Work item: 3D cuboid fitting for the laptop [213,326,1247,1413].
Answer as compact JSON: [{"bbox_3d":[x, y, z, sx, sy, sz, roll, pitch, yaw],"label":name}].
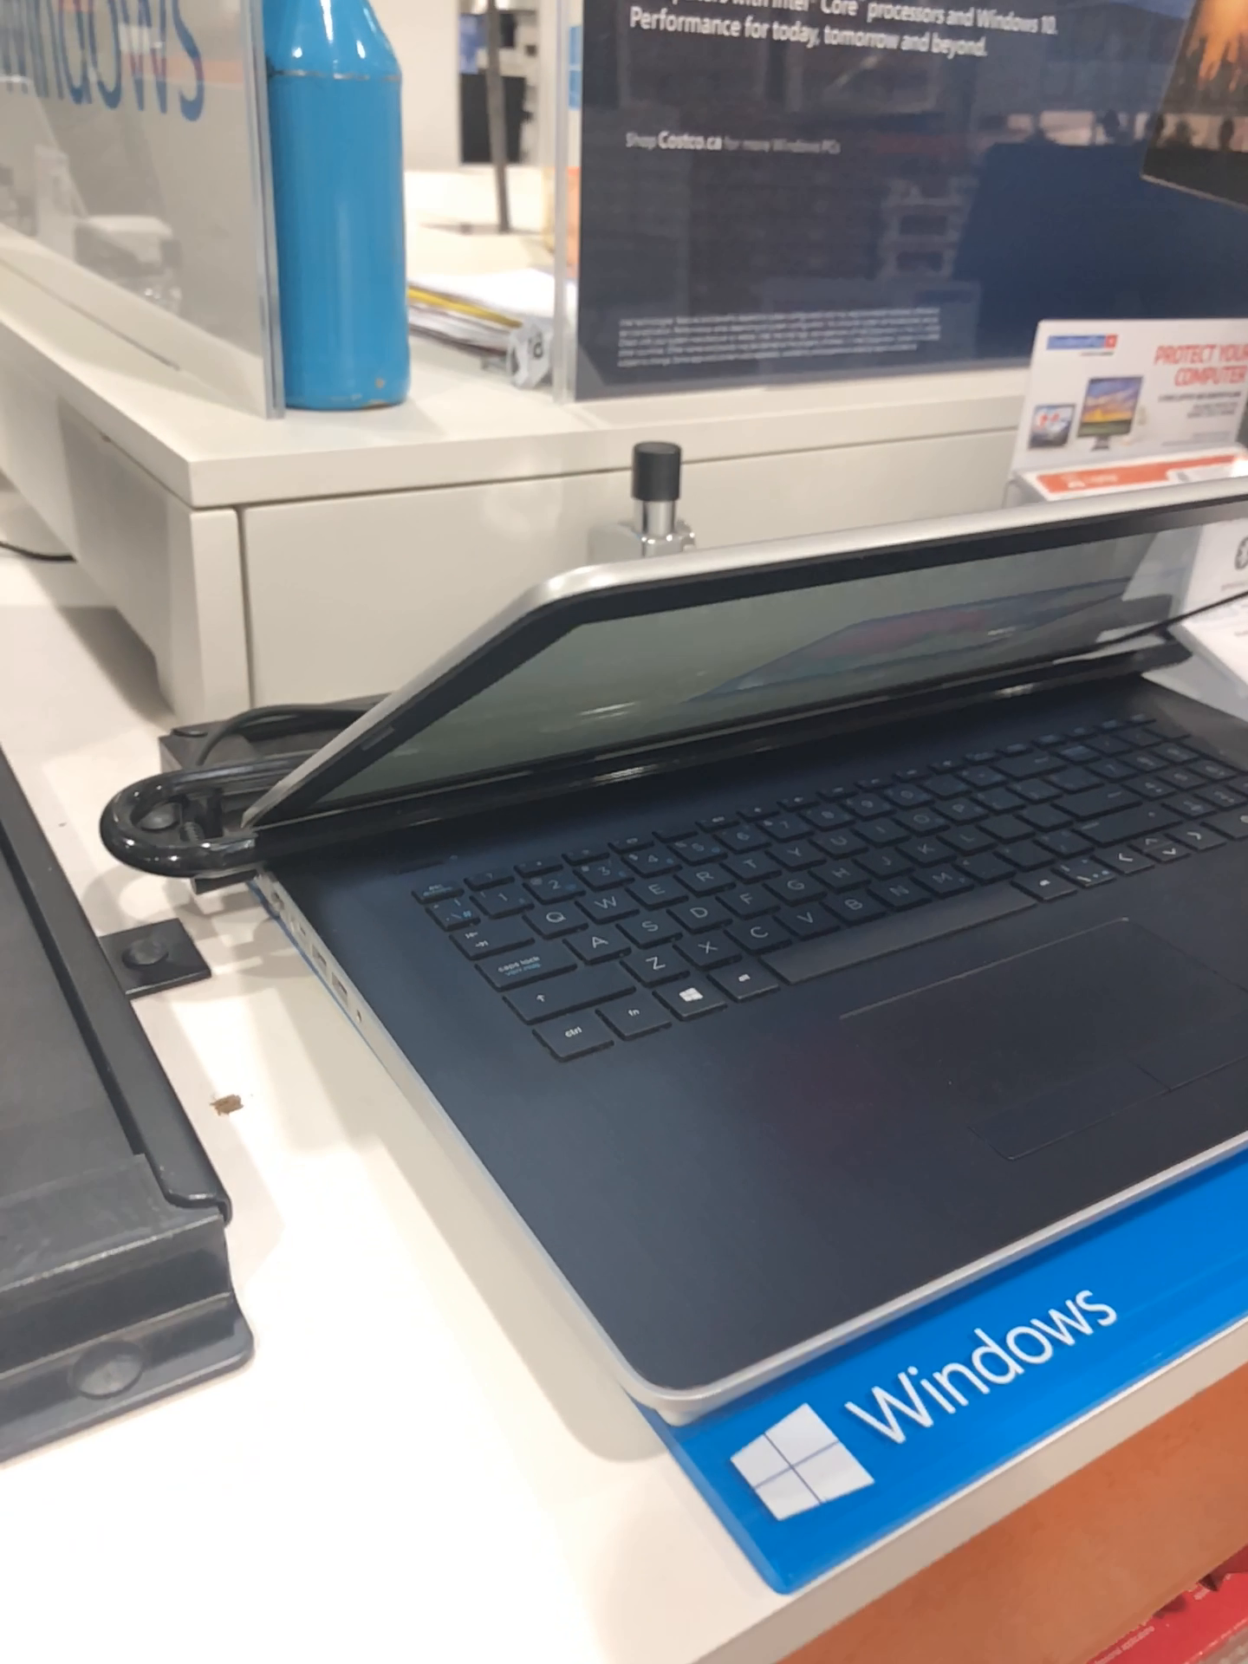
[{"bbox_3d":[0.122,-0.051,0.419,0.405,0.150,0.258,-14,31,-28],"label":"laptop"}]
